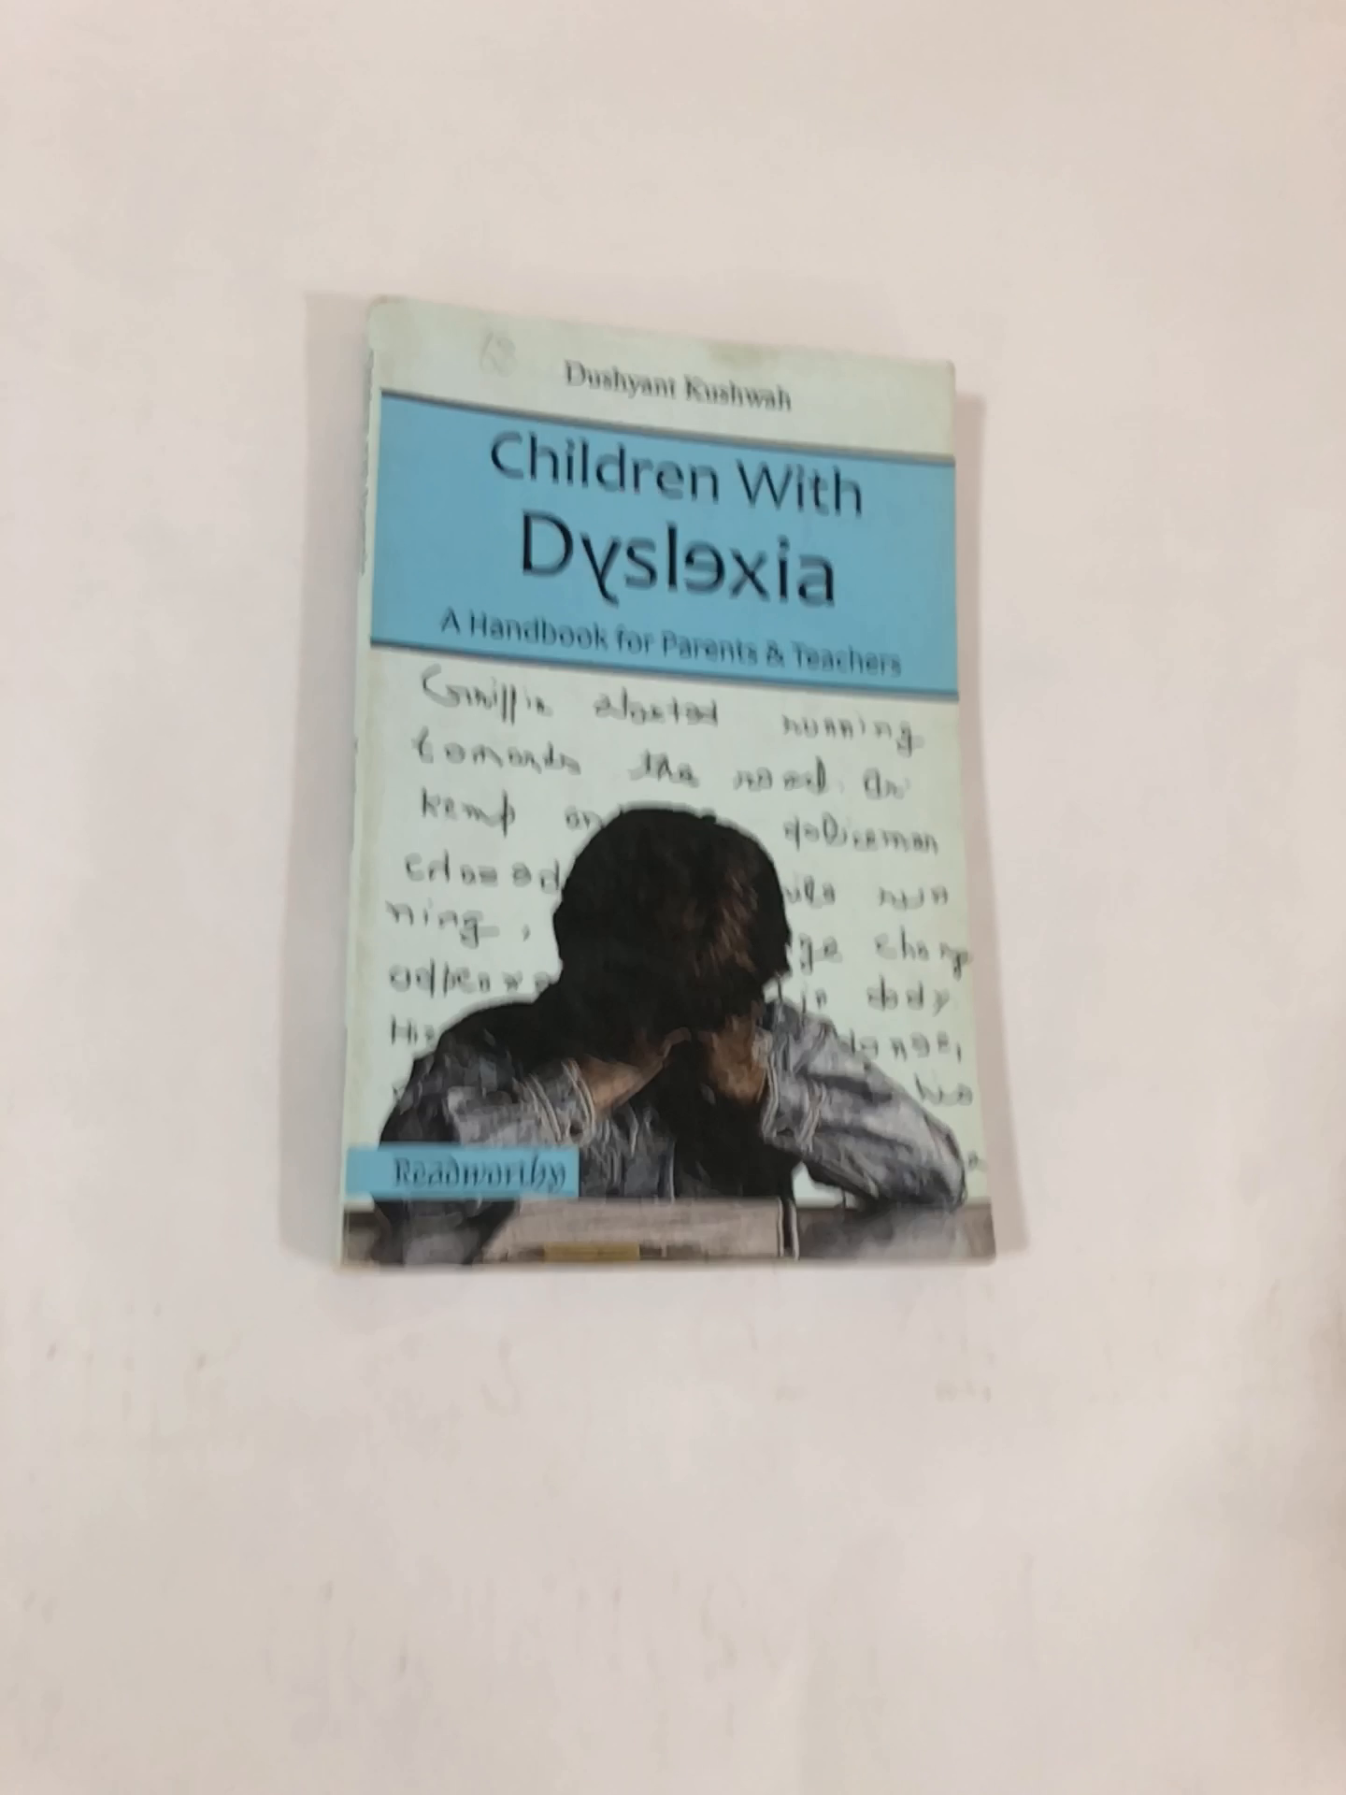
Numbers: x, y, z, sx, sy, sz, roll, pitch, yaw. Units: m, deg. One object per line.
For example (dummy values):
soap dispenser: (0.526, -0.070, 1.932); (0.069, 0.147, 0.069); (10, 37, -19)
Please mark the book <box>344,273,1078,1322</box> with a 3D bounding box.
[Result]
book: (0.008, -0.022, 0.336); (0.150, 0.030, 0.220); (2, 77, -14)
